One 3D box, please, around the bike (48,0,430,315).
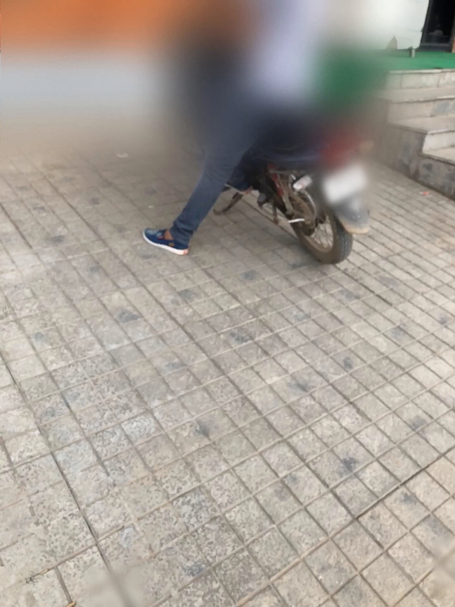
[{"bbox_3d":[-0.126,-1.098,2.724,0.815,1.344,1.824,-17,41,-31],"label":"bike"}]
